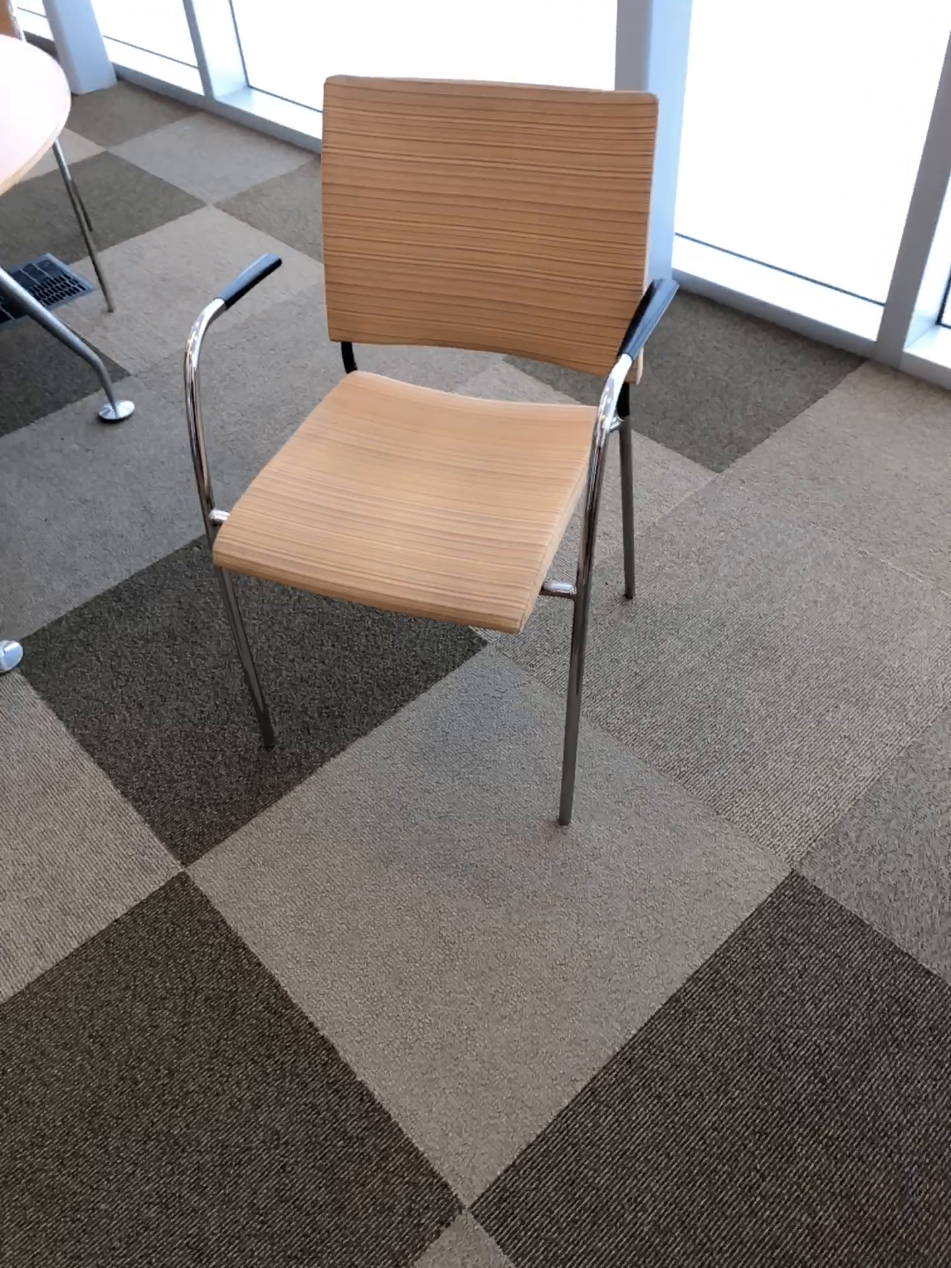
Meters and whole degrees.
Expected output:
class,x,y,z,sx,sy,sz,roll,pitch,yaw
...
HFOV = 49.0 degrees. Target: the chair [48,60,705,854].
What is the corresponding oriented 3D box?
class,x,y,z,sx,sy,sz,roll,pitch,yaw
chair,-0.044,-0.218,1.378,0.515,0.796,0.548,12,48,16
